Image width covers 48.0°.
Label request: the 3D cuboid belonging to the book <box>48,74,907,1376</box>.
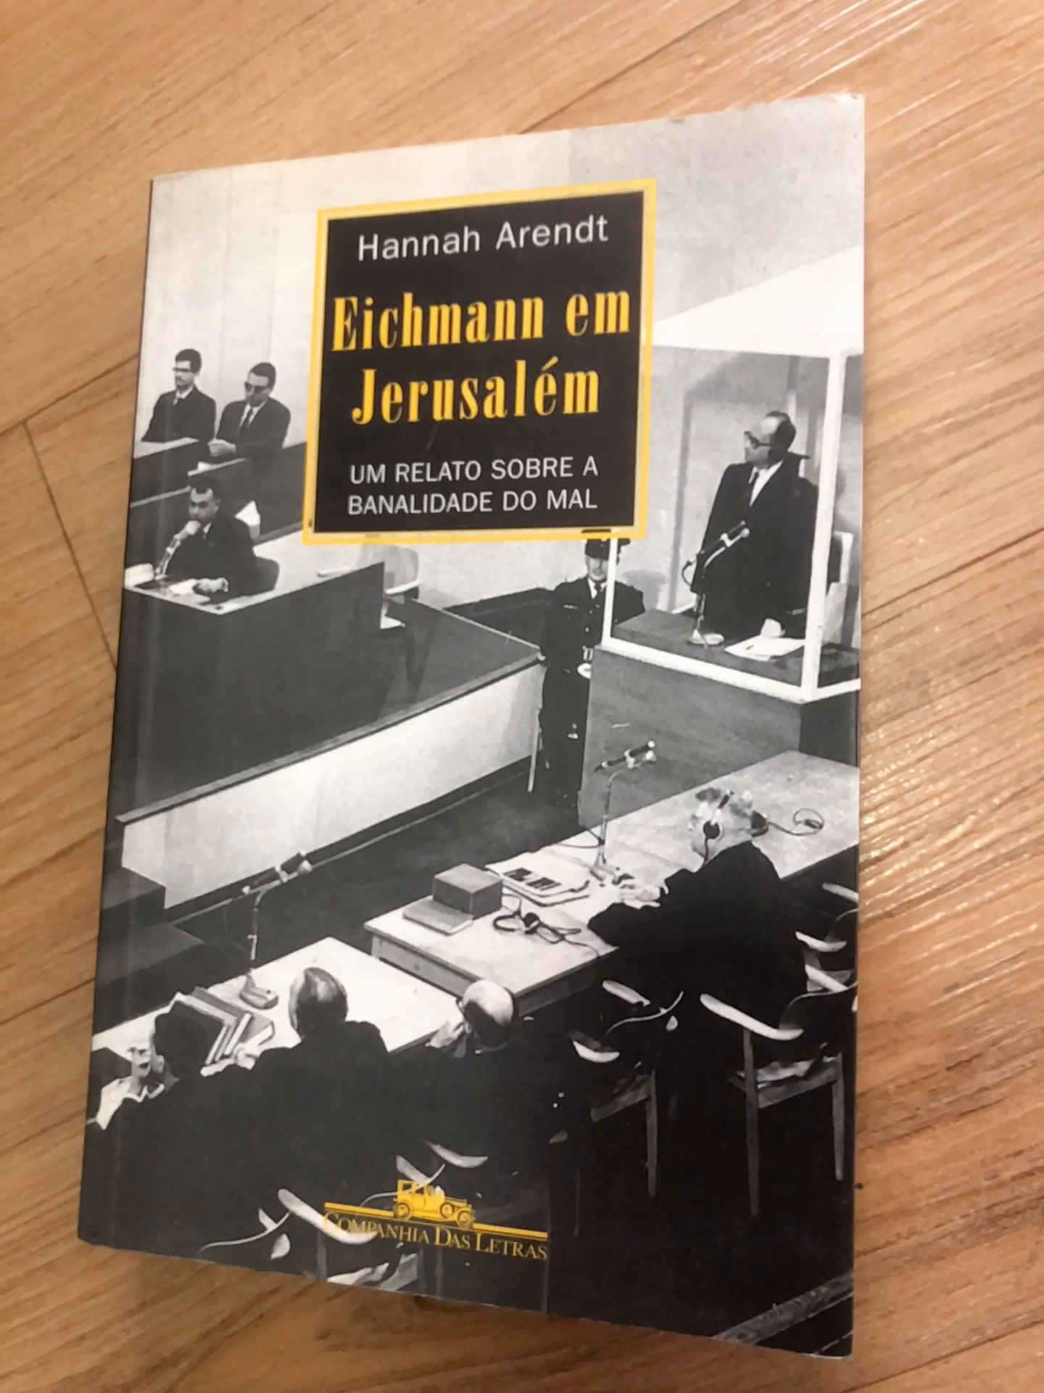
[{"bbox_3d":[-0.008,-0.001,0.210,0.144,0.023,0.202,0,84,14],"label":"book"}]
